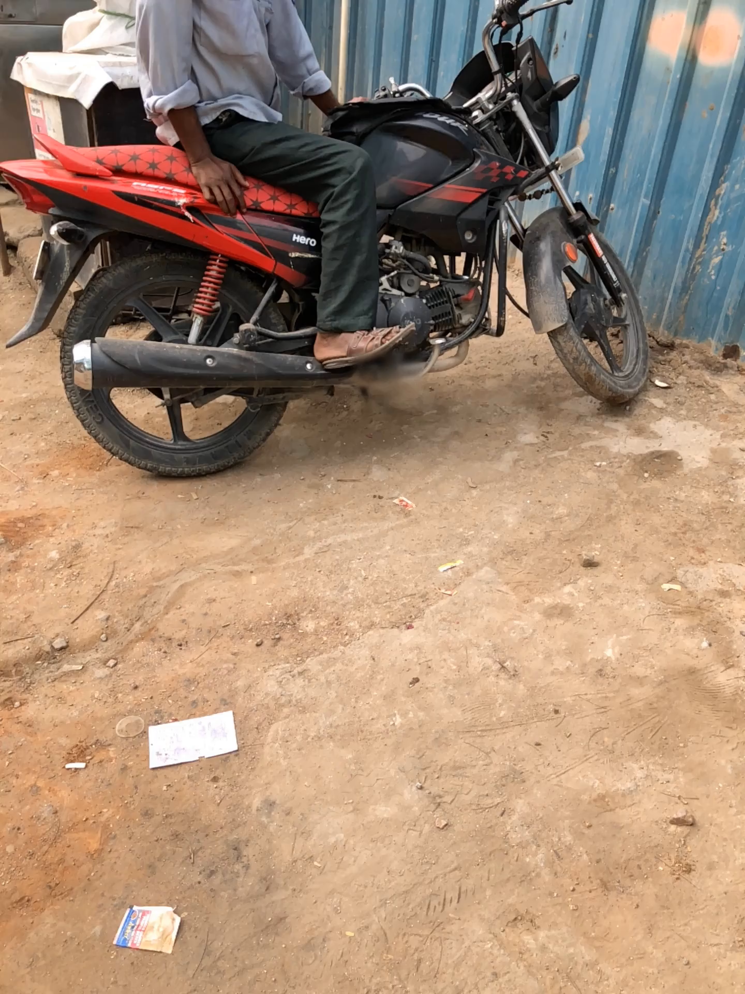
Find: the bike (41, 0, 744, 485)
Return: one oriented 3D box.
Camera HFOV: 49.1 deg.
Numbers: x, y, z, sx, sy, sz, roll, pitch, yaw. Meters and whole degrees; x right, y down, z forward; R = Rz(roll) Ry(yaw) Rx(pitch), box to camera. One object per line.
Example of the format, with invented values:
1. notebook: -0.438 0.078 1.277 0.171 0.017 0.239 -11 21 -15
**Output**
1. bike: -0.004 -0.938 2.304 1.632 1.129 0.738 -14 36 -16
